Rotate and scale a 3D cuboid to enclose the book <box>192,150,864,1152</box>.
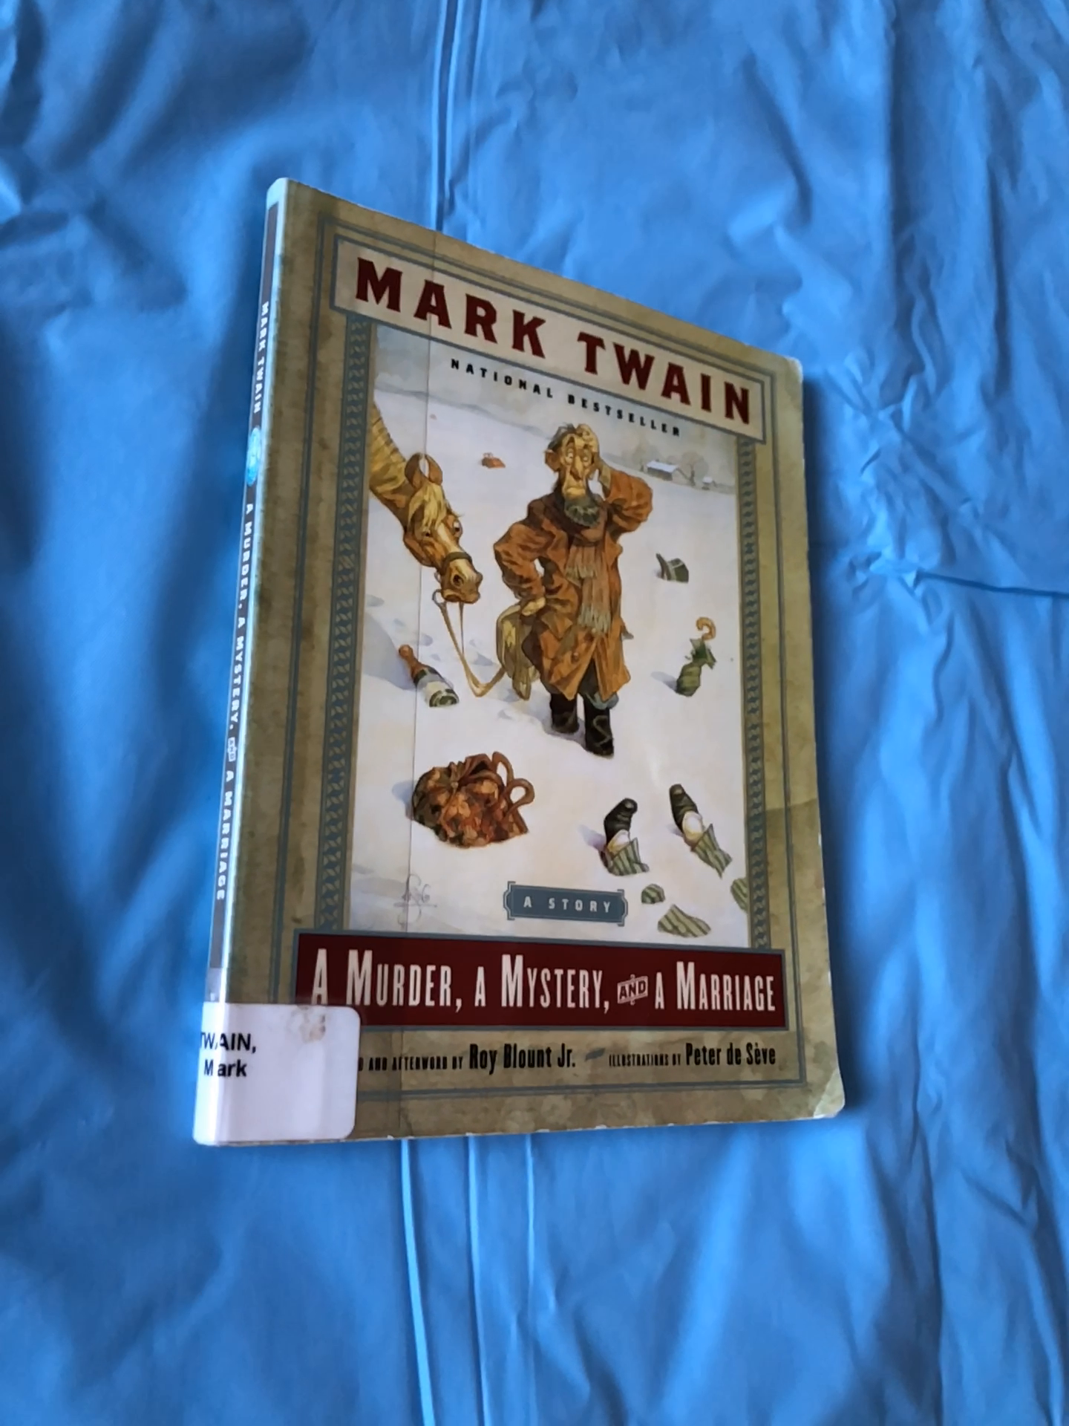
[{"bbox_3d":[0.008,-0.011,0.288,0.161,0.020,0.210,8,74,-30],"label":"book"}]
